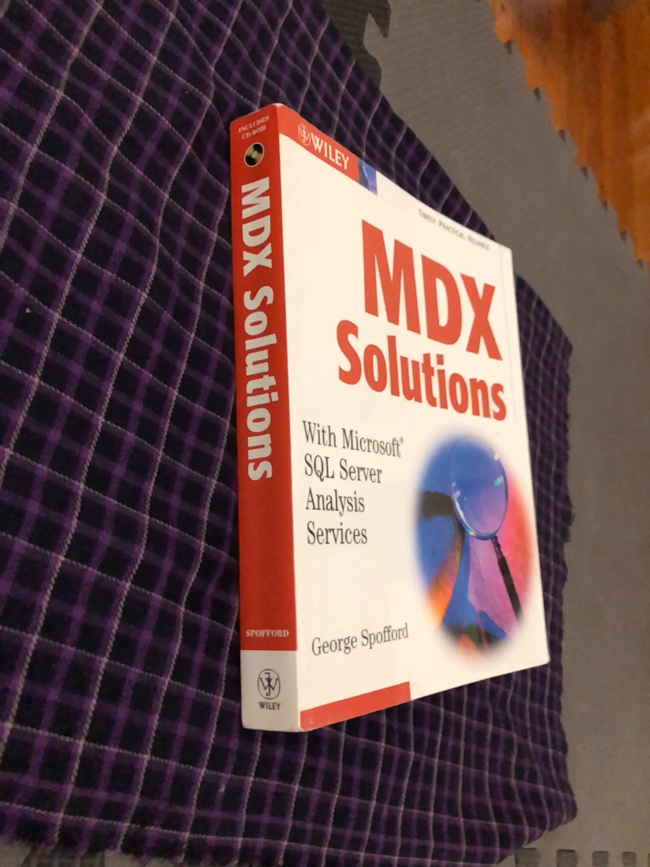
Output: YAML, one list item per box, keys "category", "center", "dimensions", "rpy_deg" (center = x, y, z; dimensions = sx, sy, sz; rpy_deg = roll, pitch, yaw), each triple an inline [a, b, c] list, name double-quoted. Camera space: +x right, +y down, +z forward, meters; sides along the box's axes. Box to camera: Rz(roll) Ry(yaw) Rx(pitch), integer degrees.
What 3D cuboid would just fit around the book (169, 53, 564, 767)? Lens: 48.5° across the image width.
- category: "book"
  center: [0.033, -0.006, 0.356]
  dimensions: [0.221, 0.050, 0.260]
  rpy_deg: [8, 73, -50]
